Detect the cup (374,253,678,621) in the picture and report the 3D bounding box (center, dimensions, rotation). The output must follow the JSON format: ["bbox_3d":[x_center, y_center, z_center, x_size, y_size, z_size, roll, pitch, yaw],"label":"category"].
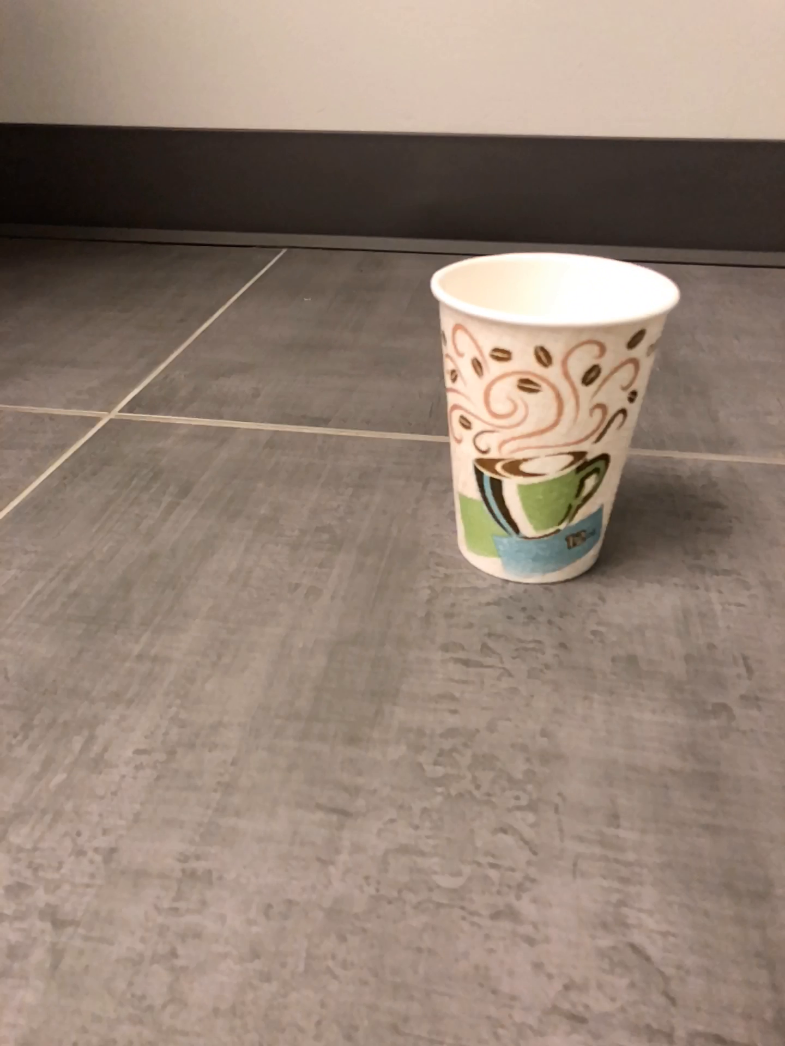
[{"bbox_3d":[0.053,-0.040,0.339,0.090,0.099,0.100,11,32,17],"label":"cup"}]
